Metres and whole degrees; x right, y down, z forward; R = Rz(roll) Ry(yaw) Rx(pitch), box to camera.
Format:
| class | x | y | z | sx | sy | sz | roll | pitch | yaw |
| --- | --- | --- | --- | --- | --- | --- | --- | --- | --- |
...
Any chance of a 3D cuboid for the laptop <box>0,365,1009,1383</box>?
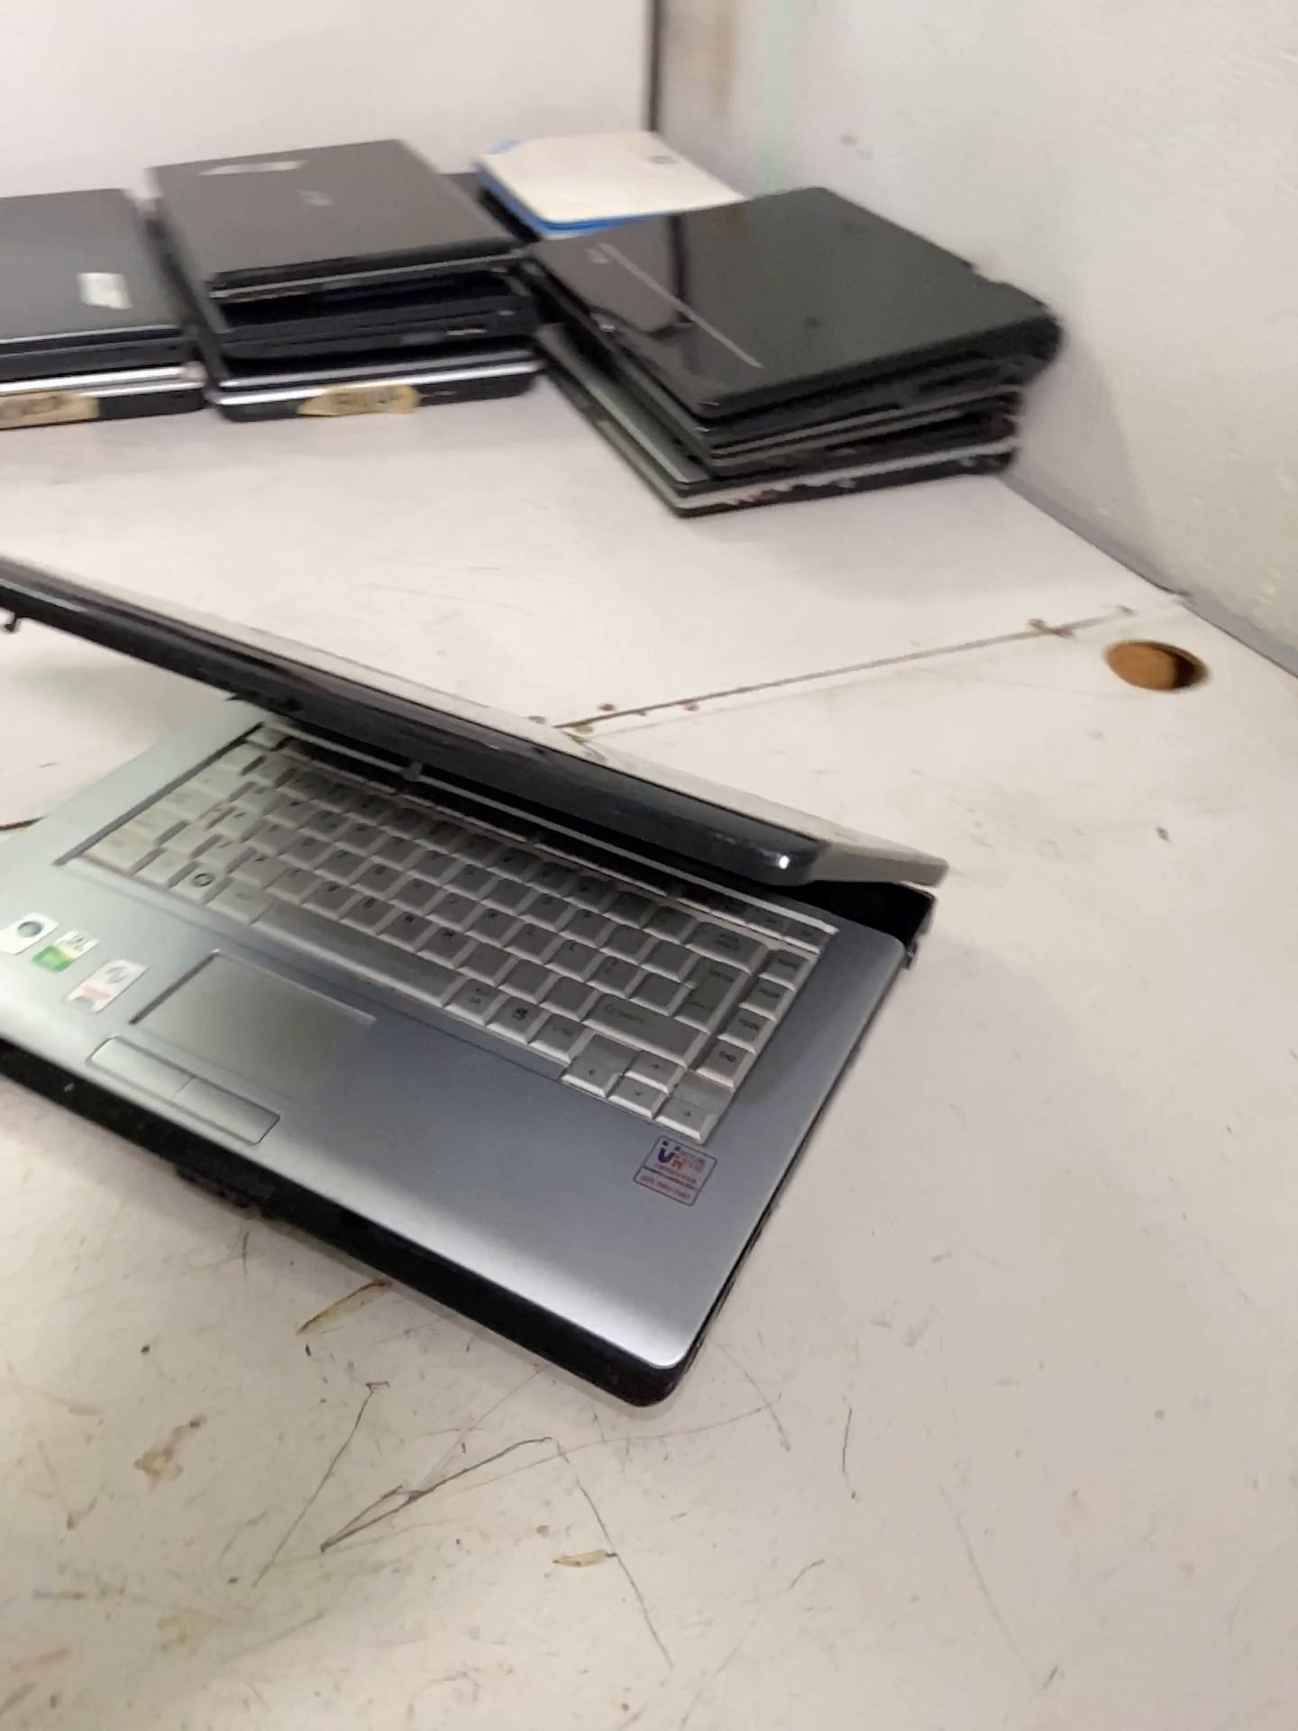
| class | x | y | z | sx | sy | sz | roll | pitch | yaw |
| --- | --- | --- | --- | --- | --- | --- | --- | --- | --- |
| laptop | -0.092 | -0.036 | 0.481 | 0.346 | 0.152 | 0.259 | 20 | 42 | 20 |
